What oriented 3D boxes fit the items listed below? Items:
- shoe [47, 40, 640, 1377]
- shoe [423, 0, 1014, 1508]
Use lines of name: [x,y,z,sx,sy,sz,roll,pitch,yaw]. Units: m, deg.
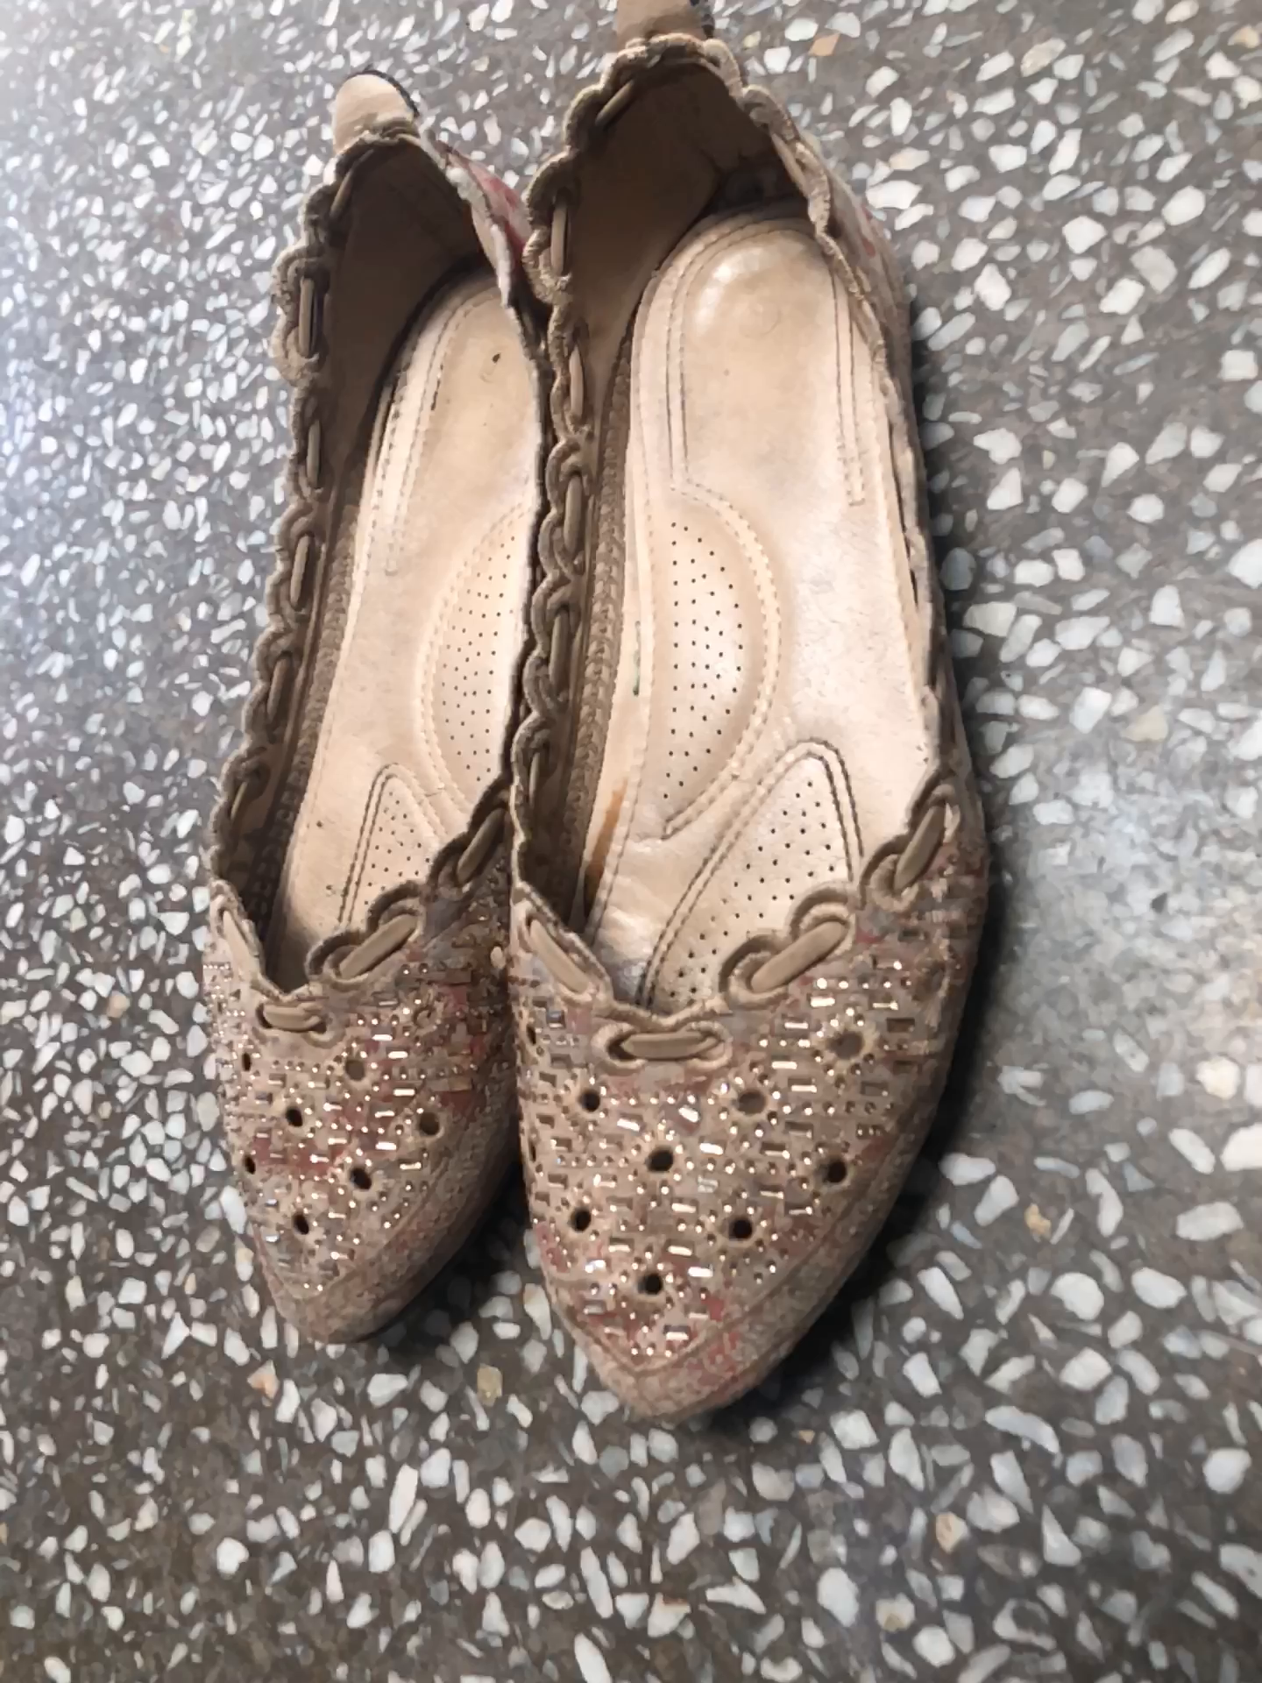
shoe: [-0.060,-0.035,0.317,0.090,0.040,0.280,-2,75,29]
shoe: [0.020,-0.031,0.266,0.090,0.040,0.270,-2,79,29]
